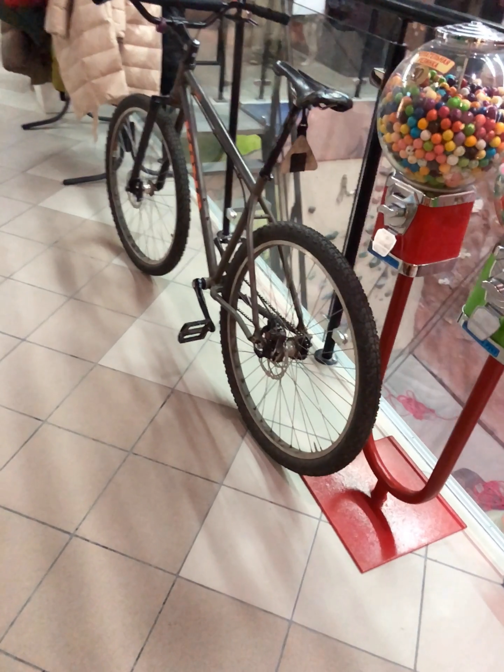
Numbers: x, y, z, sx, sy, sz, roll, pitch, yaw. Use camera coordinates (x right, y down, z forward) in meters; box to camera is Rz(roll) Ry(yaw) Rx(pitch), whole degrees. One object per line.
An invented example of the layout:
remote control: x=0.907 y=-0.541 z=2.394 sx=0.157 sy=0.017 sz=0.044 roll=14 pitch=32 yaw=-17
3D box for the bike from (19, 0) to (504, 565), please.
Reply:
bike: x=-0.089 y=-0.490 z=1.831 sx=0.750 sy=1.099 sz=1.828 roll=-15 pitch=45 yaw=-27
